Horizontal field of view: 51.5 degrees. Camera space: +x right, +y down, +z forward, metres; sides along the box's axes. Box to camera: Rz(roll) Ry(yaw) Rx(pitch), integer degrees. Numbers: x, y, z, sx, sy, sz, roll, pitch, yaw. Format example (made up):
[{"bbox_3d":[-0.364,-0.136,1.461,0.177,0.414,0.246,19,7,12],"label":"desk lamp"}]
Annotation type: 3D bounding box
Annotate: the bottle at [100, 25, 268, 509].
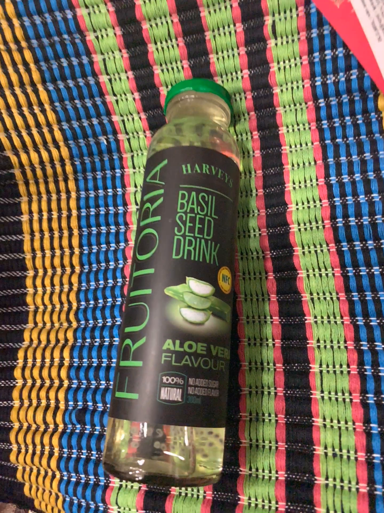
[{"bbox_3d":[-0.003,-0.001,0.194,0.050,0.060,0.200,9,75,-14],"label":"bottle"}]
